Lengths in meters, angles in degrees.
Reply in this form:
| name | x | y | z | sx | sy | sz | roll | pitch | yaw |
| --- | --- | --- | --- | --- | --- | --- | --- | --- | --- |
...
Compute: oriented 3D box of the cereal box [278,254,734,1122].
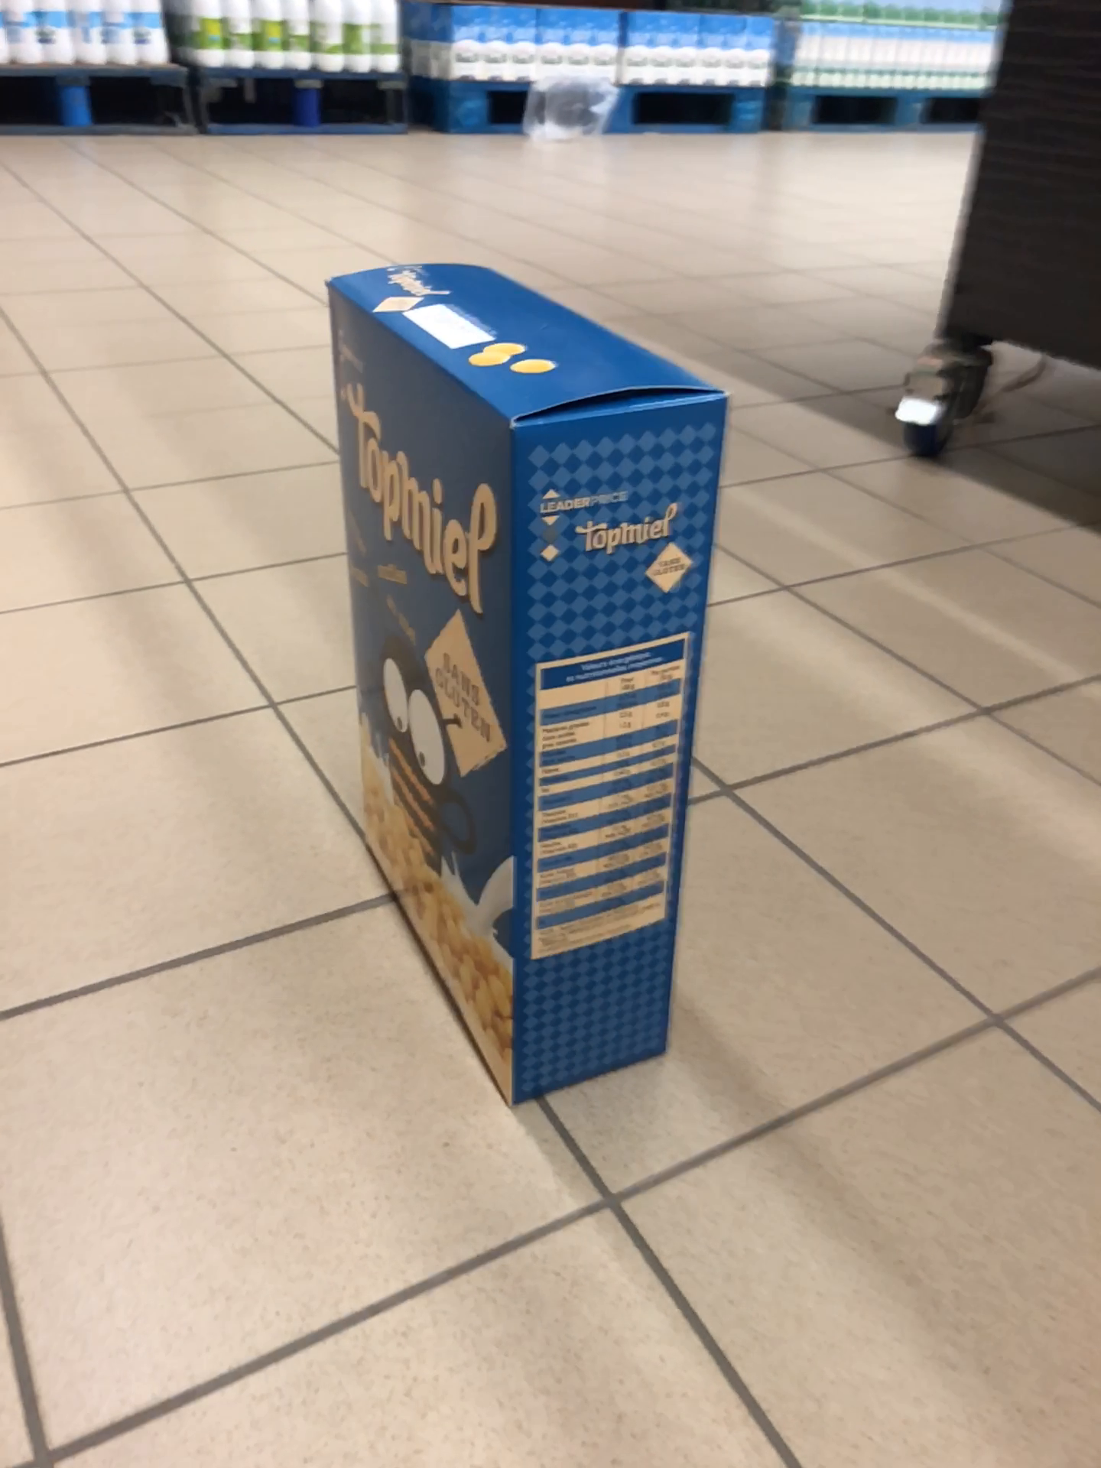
| name | x | y | z | sx | sy | sz | roll | pitch | yaw |
| --- | --- | --- | --- | --- | --- | --- | --- | --- | --- |
| cereal box | -0.033 | -0.027 | 0.487 | 0.080 | 0.278 | 0.201 | -12 | 33 | -24 |
